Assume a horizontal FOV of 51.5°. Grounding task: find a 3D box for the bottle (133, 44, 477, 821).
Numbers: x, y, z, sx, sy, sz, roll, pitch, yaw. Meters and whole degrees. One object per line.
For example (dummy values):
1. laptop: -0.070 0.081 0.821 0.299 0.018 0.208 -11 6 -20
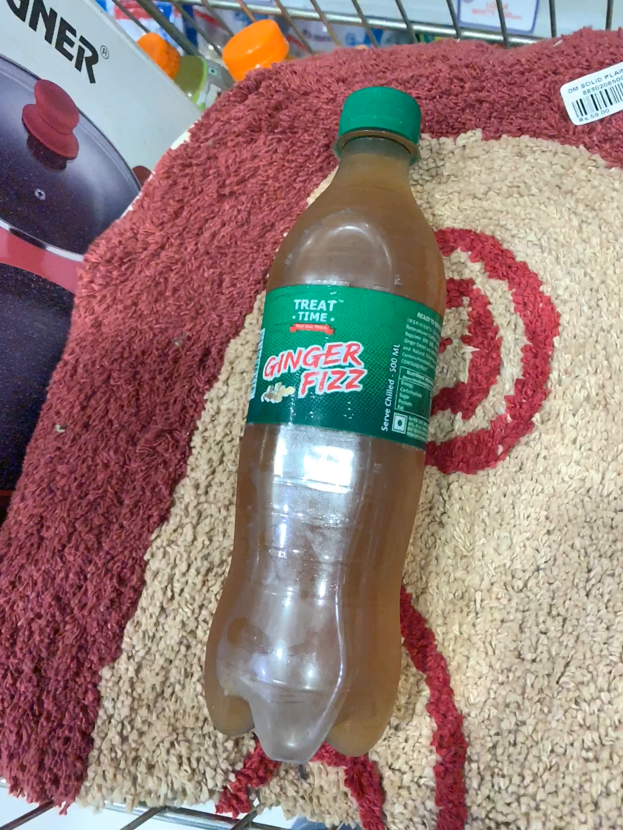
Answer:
1. bottle: 0.006 0.000 0.224 0.070 0.070 0.220 8 86 17
